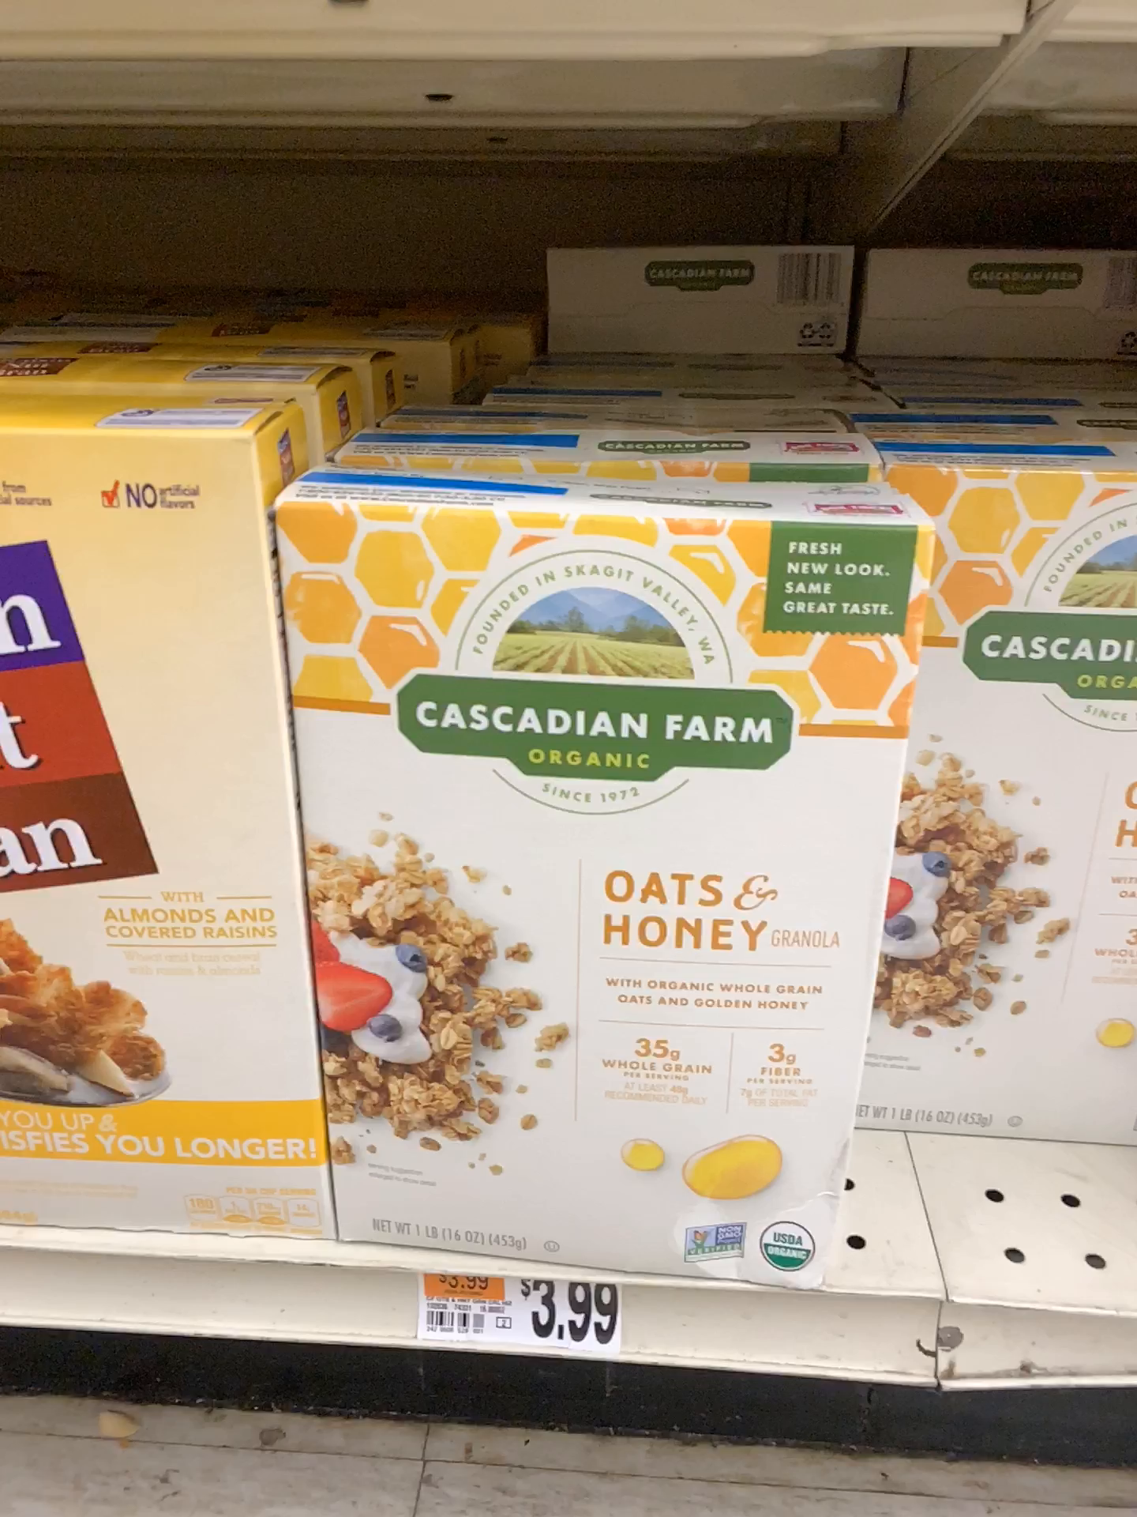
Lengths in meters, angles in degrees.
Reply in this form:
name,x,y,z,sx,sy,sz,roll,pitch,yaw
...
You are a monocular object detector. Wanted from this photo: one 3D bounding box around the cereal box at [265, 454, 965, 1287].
name,x,y,z,sx,sy,sz,roll,pitch,yaw
cereal box,0.010,0.036,0.338,0.160,0.229,0.060,3,24,6
